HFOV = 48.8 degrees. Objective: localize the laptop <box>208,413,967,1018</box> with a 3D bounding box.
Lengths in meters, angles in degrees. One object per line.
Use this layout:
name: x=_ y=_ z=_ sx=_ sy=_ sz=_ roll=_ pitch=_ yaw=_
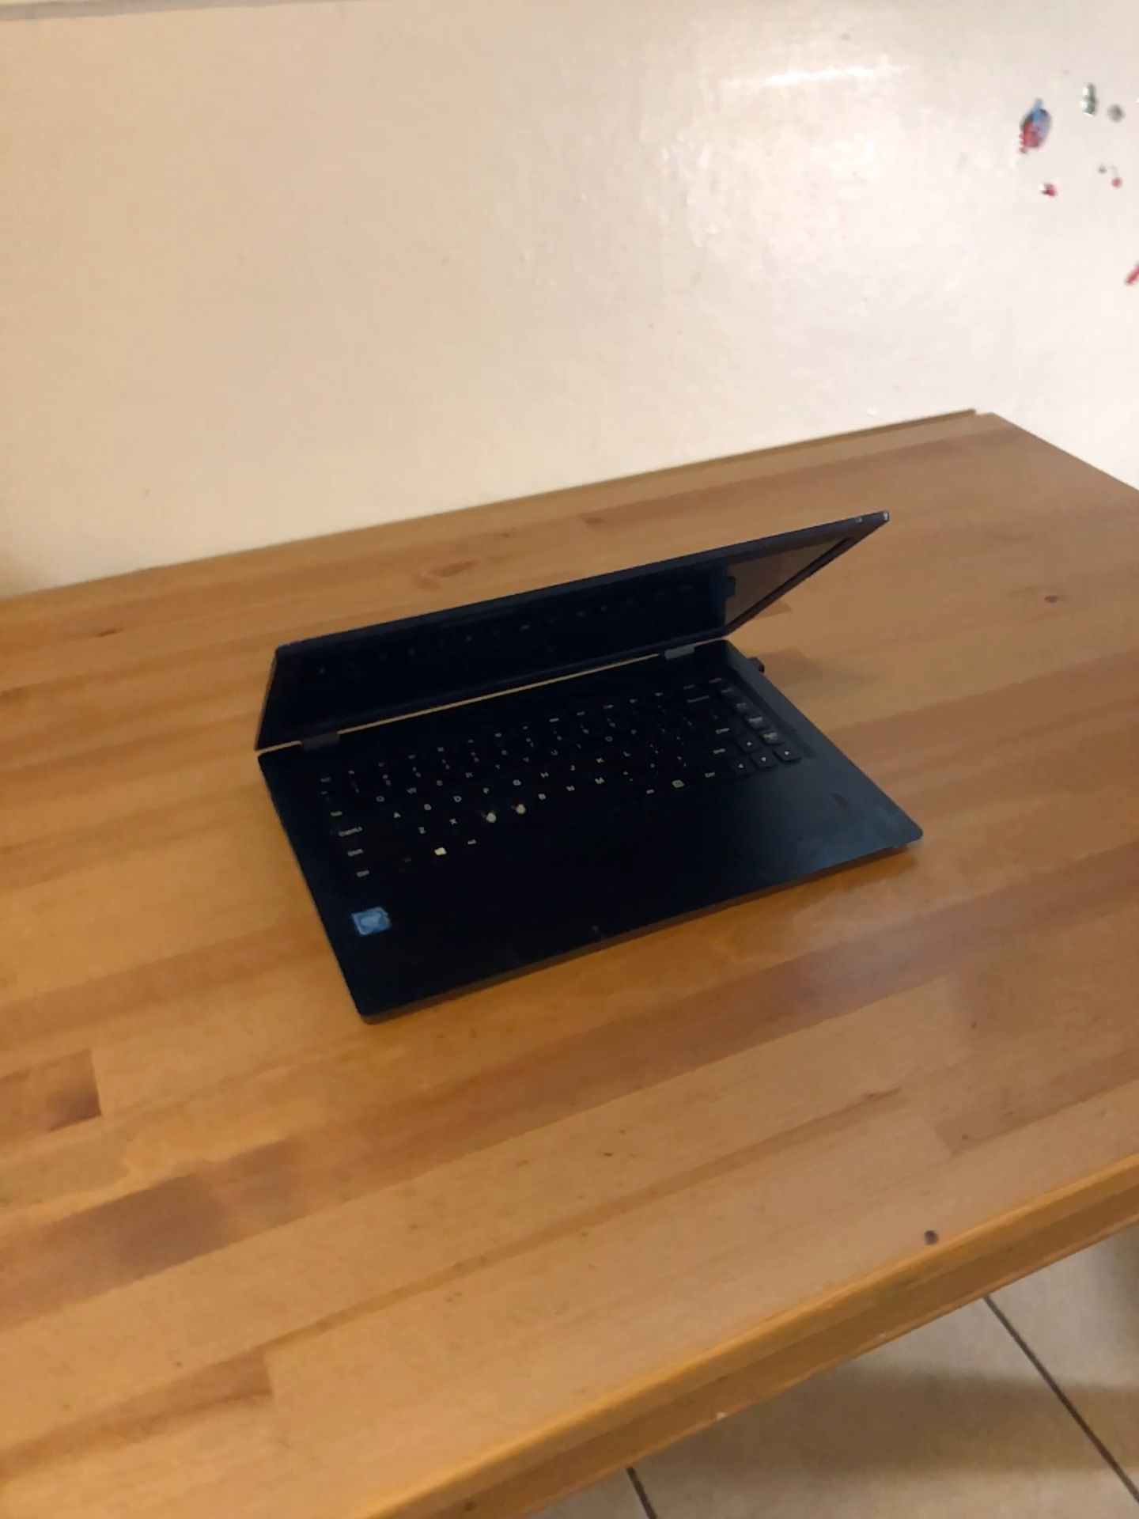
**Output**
laptop: x=0.001 y=-0.043 z=0.669 sx=0.317 sy=0.161 sz=0.217 roll=-15 pitch=40 yaw=-19
